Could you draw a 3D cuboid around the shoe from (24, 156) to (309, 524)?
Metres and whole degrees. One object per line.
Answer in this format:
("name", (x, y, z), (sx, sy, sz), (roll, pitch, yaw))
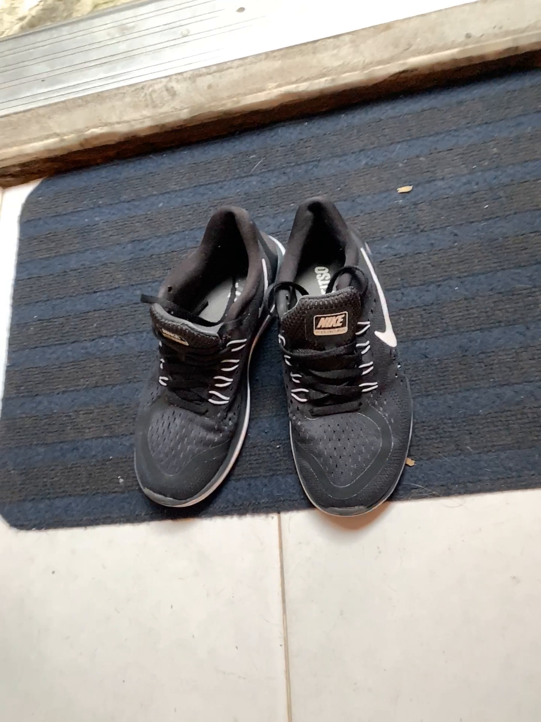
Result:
("shoe", (-0.064, -0.014, 0.436), (0.104, 0.119, 0.248), (14, 75, 18))

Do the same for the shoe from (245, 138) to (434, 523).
("shoe", (0.049, -0.014, 0.407), (0.106, 0.119, 0.248), (-5, 70, 12))
